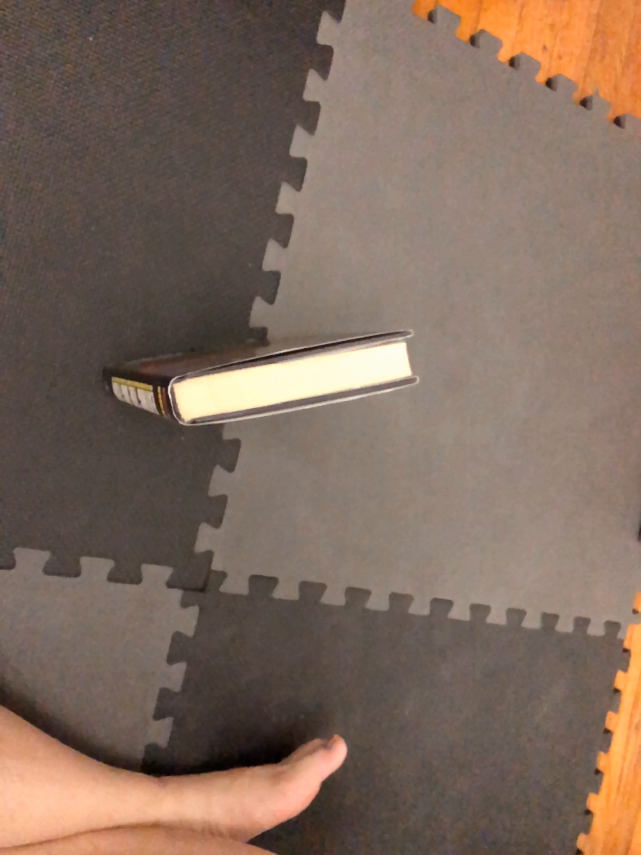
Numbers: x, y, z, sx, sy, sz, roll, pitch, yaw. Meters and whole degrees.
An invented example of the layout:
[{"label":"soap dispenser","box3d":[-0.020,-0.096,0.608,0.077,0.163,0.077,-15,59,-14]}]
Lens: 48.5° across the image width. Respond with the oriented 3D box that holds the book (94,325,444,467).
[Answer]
[{"label":"book","box3d":[-0.058,-0.038,0.543,0.180,0.259,0.050,-14,103,-23]}]
